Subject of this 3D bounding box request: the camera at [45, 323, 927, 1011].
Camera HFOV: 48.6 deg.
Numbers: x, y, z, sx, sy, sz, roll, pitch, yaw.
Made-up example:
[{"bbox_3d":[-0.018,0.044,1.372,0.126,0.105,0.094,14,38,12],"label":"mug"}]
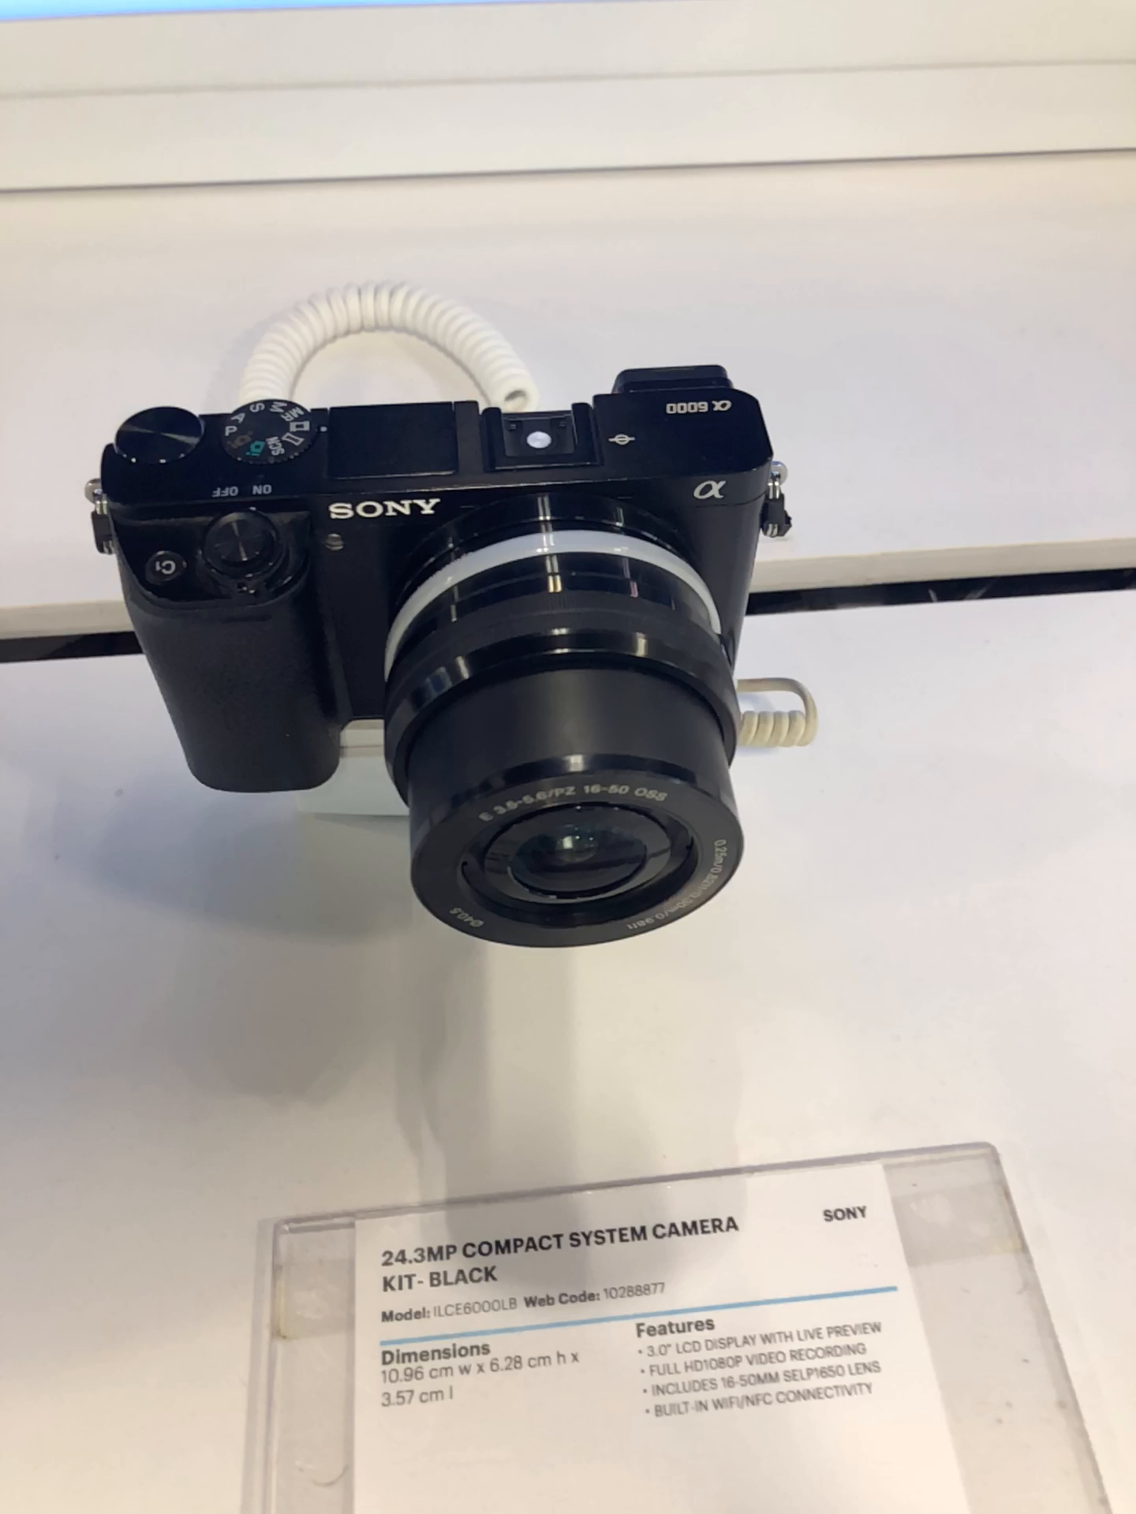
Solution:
[{"bbox_3d":[-0.017,-0.019,0.243,0.130,0.070,0.101,-5,53,-5],"label":"camera"}]
